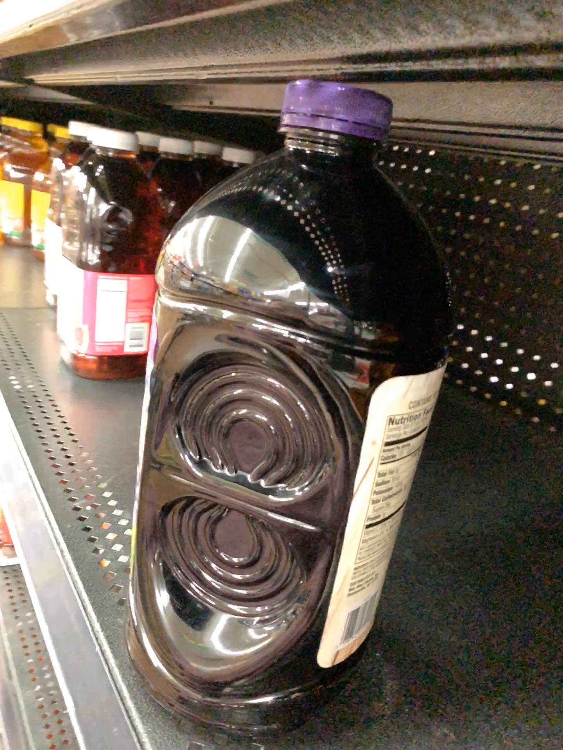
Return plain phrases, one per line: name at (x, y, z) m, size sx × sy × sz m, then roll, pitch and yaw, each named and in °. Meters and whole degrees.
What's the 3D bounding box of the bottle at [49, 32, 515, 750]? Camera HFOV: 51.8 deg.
bottle at (-0.008, 0.013, 0.277) m, size 0.140 × 0.279 × 0.130 m, roll 7°, pitch 21°, yaw -3°
